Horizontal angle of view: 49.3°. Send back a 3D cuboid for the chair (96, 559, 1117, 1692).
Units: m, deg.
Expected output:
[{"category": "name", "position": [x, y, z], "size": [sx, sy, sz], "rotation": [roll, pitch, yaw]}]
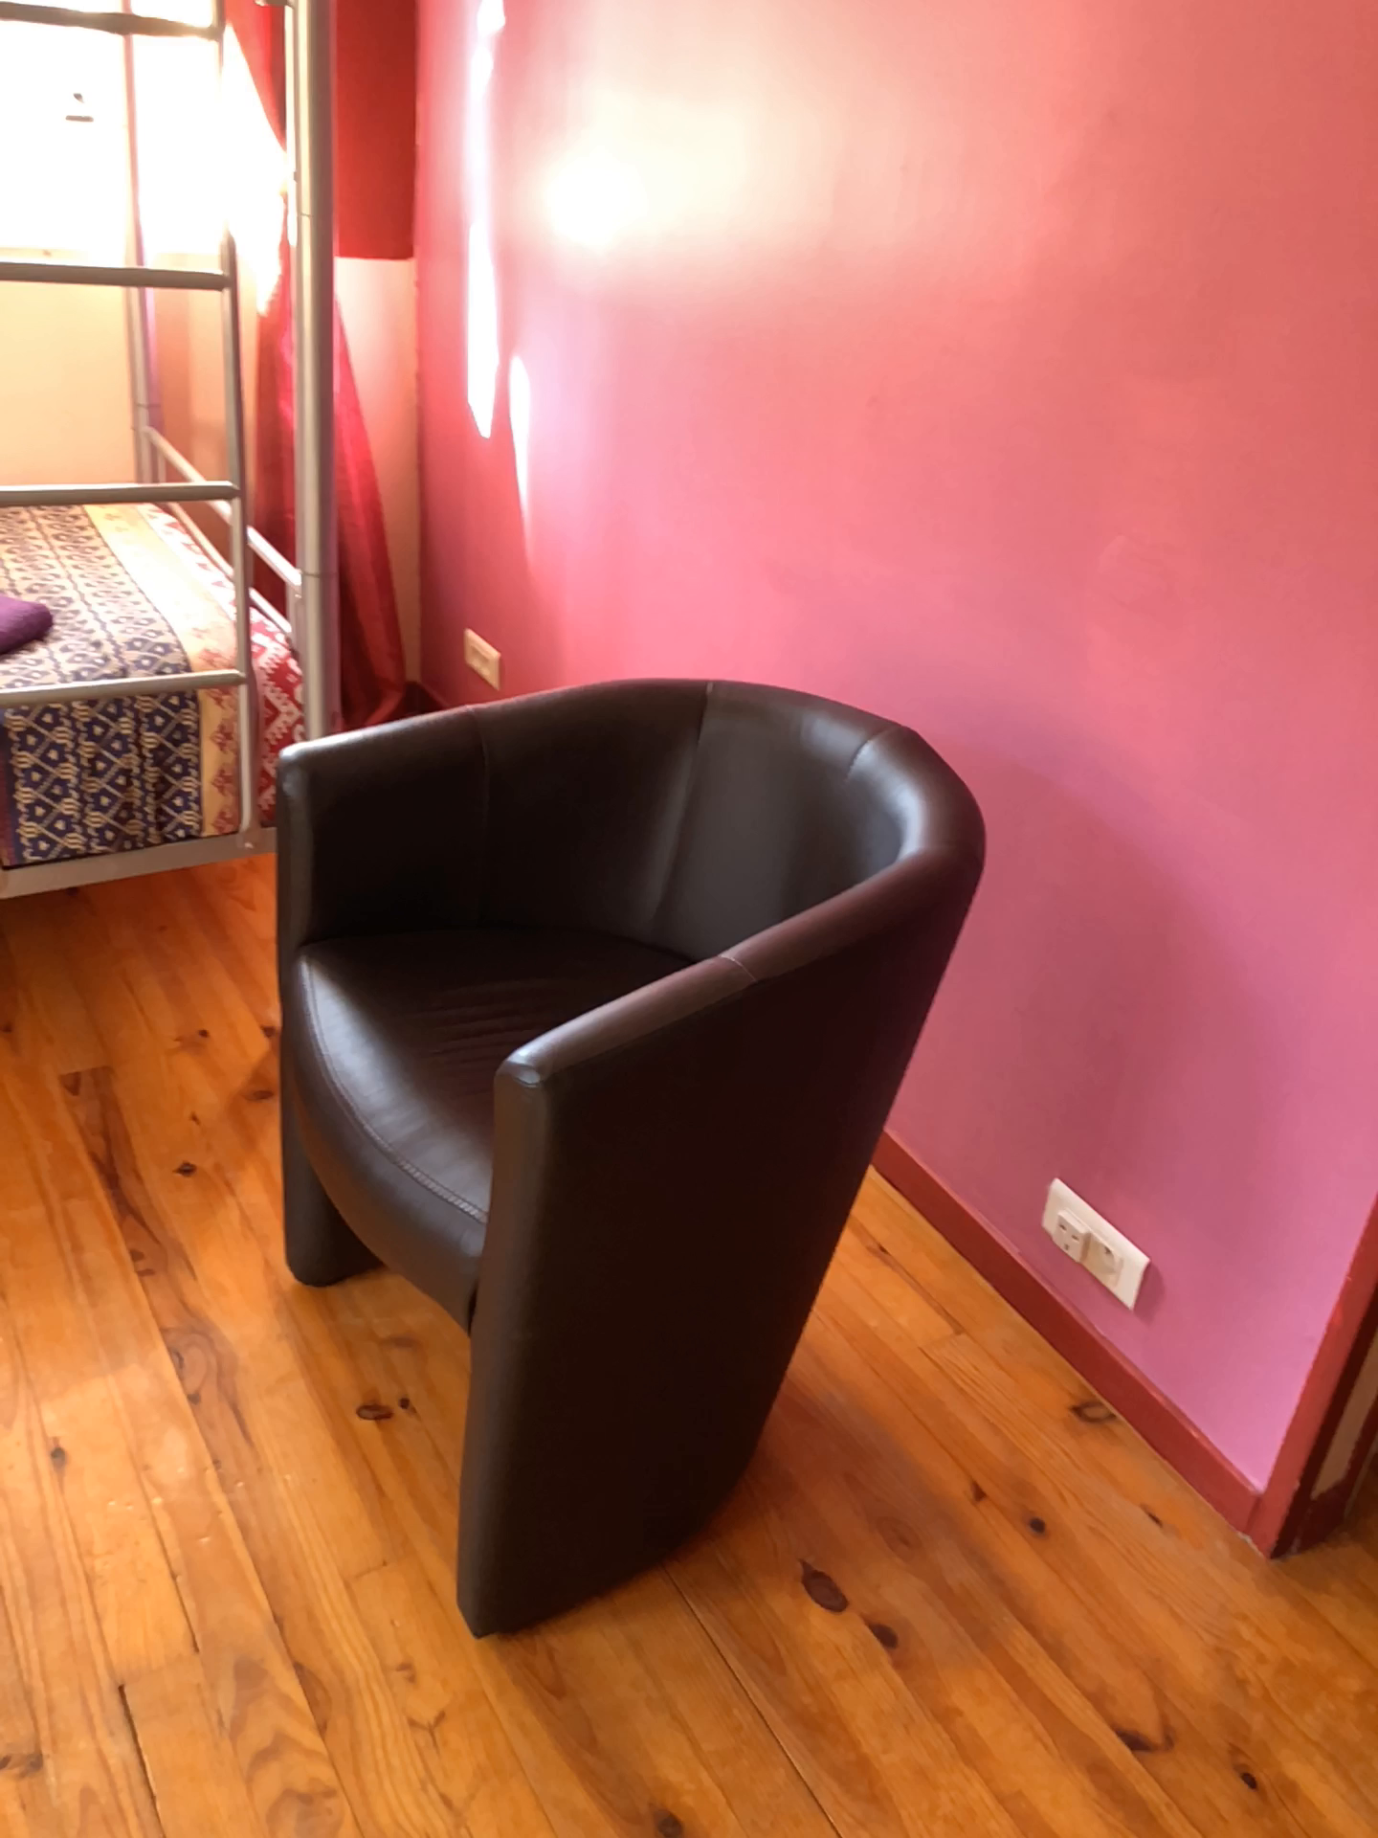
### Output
[{"category": "chair", "position": [-0.128, 0.104, 1.397], "size": [0.592, 0.646, 0.671], "rotation": [-13, 34, -30]}]
